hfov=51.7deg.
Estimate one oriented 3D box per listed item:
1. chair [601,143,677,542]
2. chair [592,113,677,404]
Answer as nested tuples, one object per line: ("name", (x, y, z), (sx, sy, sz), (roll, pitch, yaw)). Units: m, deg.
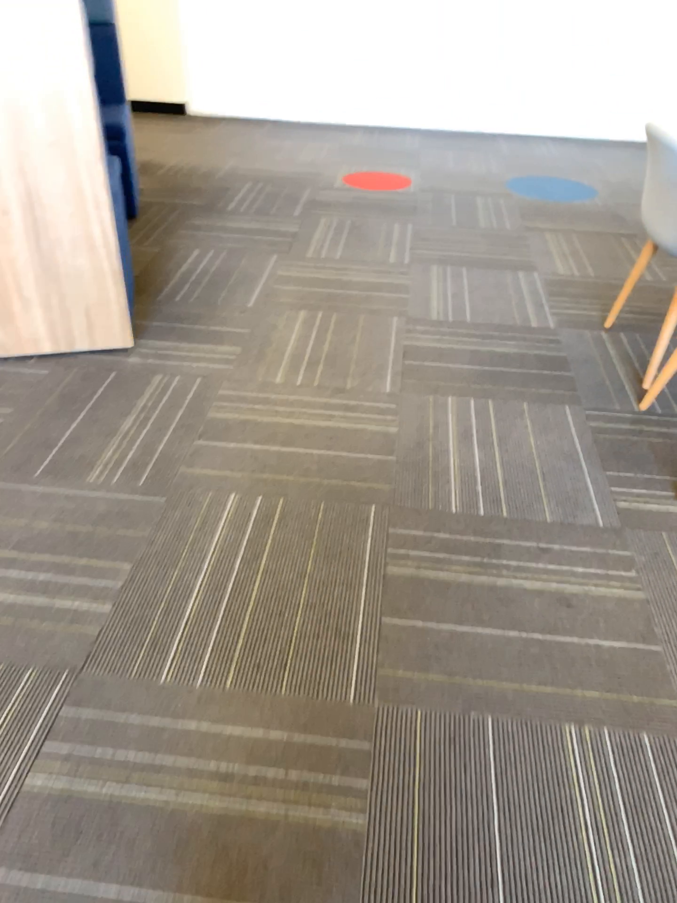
("chair", (1.118, -0.298, 1.823), (0.570, 0.795, 0.593), (7, 36, 7))
("chair", (1.285, -0.665, 2.384), (0.530, 0.775, 0.573), (5, 35, 4))
